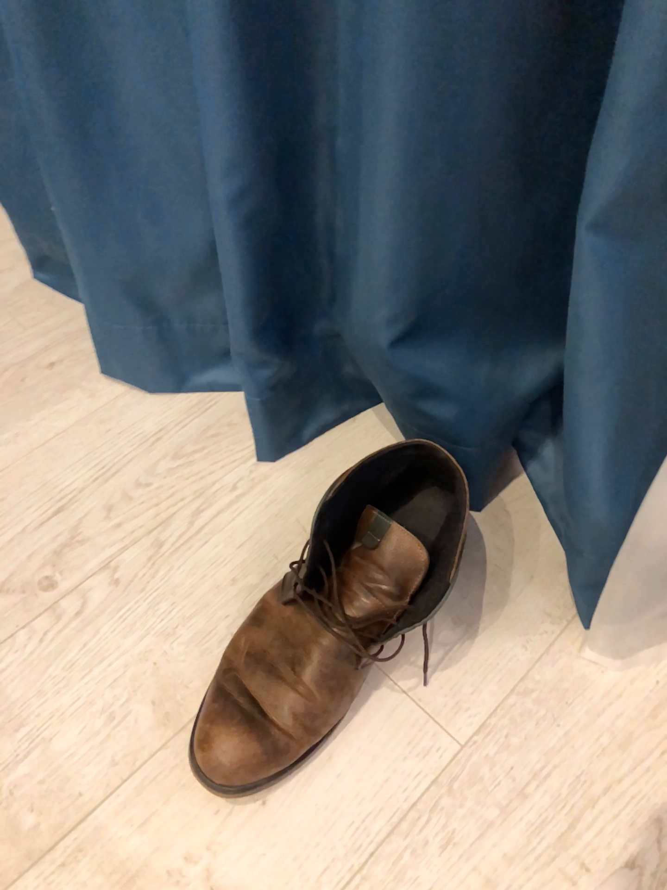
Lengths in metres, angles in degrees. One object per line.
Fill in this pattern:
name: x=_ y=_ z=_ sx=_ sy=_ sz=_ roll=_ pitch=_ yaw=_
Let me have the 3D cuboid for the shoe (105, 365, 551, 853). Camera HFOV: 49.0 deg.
shoe: x=0.013 y=0.112 z=0.564 sx=0.130 sy=0.159 sz=0.321 roll=33 pitch=58 yaw=24
